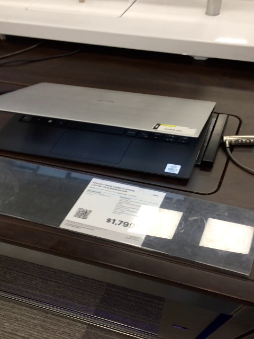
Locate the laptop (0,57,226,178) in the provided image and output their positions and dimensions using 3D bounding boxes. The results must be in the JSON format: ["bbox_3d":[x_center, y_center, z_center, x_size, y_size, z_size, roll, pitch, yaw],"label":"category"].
[{"bbox_3d":[-0.036,-0.094,0.530,0.325,0.074,0.173,11,52,14],"label":"laptop"}]
